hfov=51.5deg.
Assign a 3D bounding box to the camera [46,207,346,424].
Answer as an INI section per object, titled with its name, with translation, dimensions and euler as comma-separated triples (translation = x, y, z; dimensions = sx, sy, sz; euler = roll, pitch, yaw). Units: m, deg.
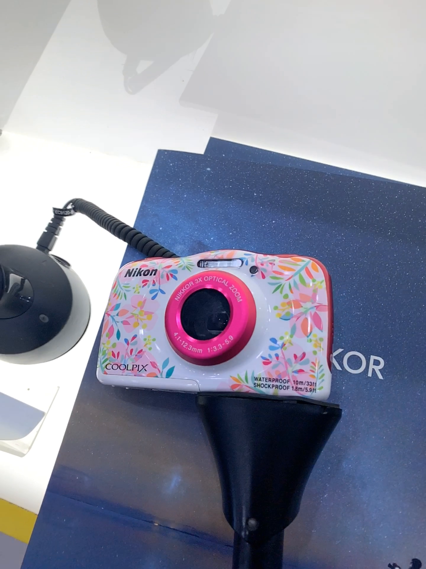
[camera]
translation = -0.002, 0.012, 0.194
dimensions = 0.110, 0.040, 0.080
euler = 3, 64, 9
